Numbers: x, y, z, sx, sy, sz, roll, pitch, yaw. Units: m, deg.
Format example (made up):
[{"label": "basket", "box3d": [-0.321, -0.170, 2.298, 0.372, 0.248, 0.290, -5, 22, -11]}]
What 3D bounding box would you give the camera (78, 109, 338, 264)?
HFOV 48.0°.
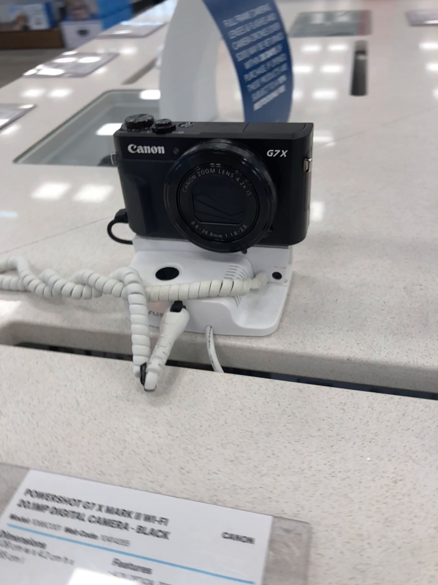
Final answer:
[{"label": "camera", "box3d": [-0.002, -0.059, 0.261, 0.120, 0.060, 0.050, 6, 39, 15]}]
